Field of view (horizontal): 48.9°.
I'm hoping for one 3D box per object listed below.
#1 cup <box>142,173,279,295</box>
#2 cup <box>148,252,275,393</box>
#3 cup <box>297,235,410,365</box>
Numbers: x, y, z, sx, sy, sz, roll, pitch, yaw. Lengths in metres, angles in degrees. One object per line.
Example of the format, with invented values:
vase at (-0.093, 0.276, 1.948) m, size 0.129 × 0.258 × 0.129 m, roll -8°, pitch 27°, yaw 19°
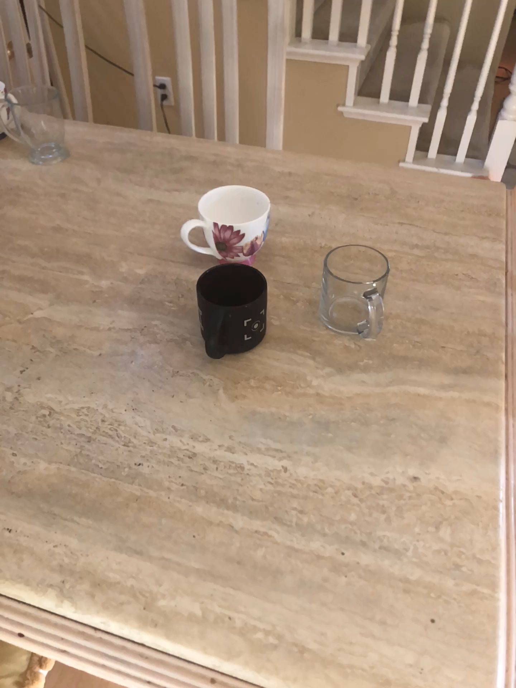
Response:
cup at (-0.069, -0.170, 0.857) m, size 0.161 × 0.089 × 0.120 m, roll -27°, pitch 51°, yaw -24°
cup at (-0.055, -0.031, 0.738) m, size 0.100 × 0.089 × 0.141 m, roll 20°, pitch 49°, yaw 19°
cup at (0.121, -0.062, 0.759) m, size 0.090 × 0.089 × 0.141 m, roll -12°, pitch 46°, yaw -12°
